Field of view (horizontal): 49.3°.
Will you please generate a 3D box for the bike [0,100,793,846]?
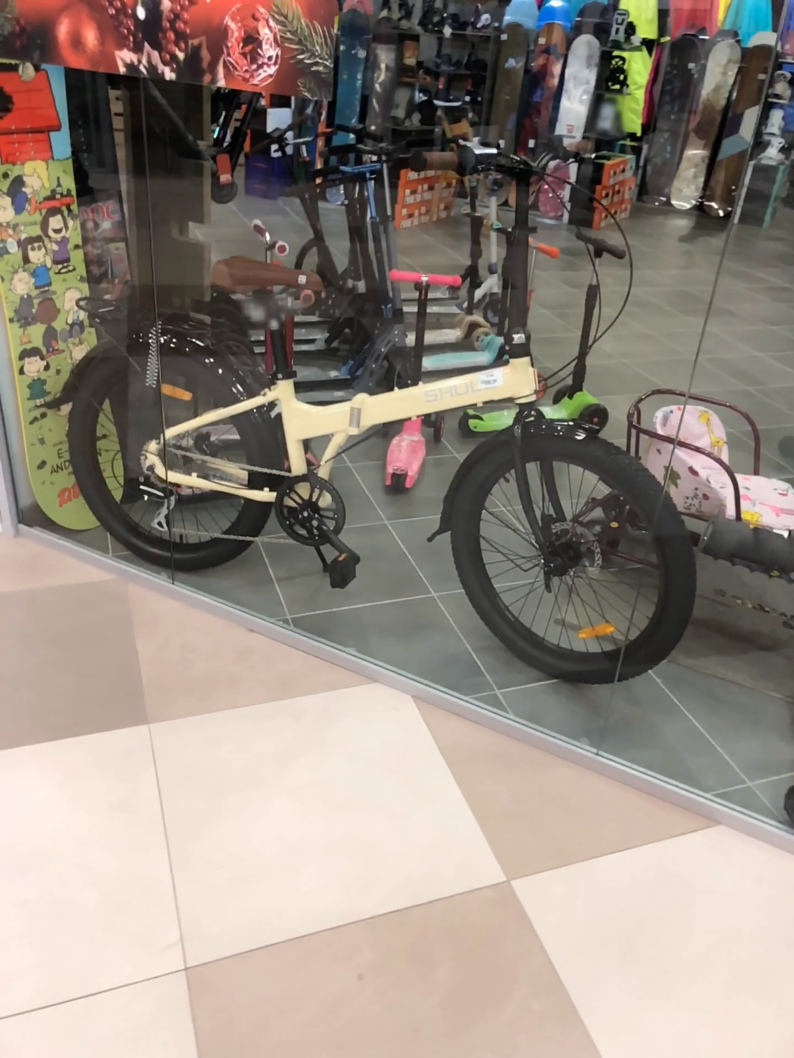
[{"bbox_3d":[-0.133,-0.247,2.018,1.703,1.175,0.596,16,30,19],"label":"bike"}]
